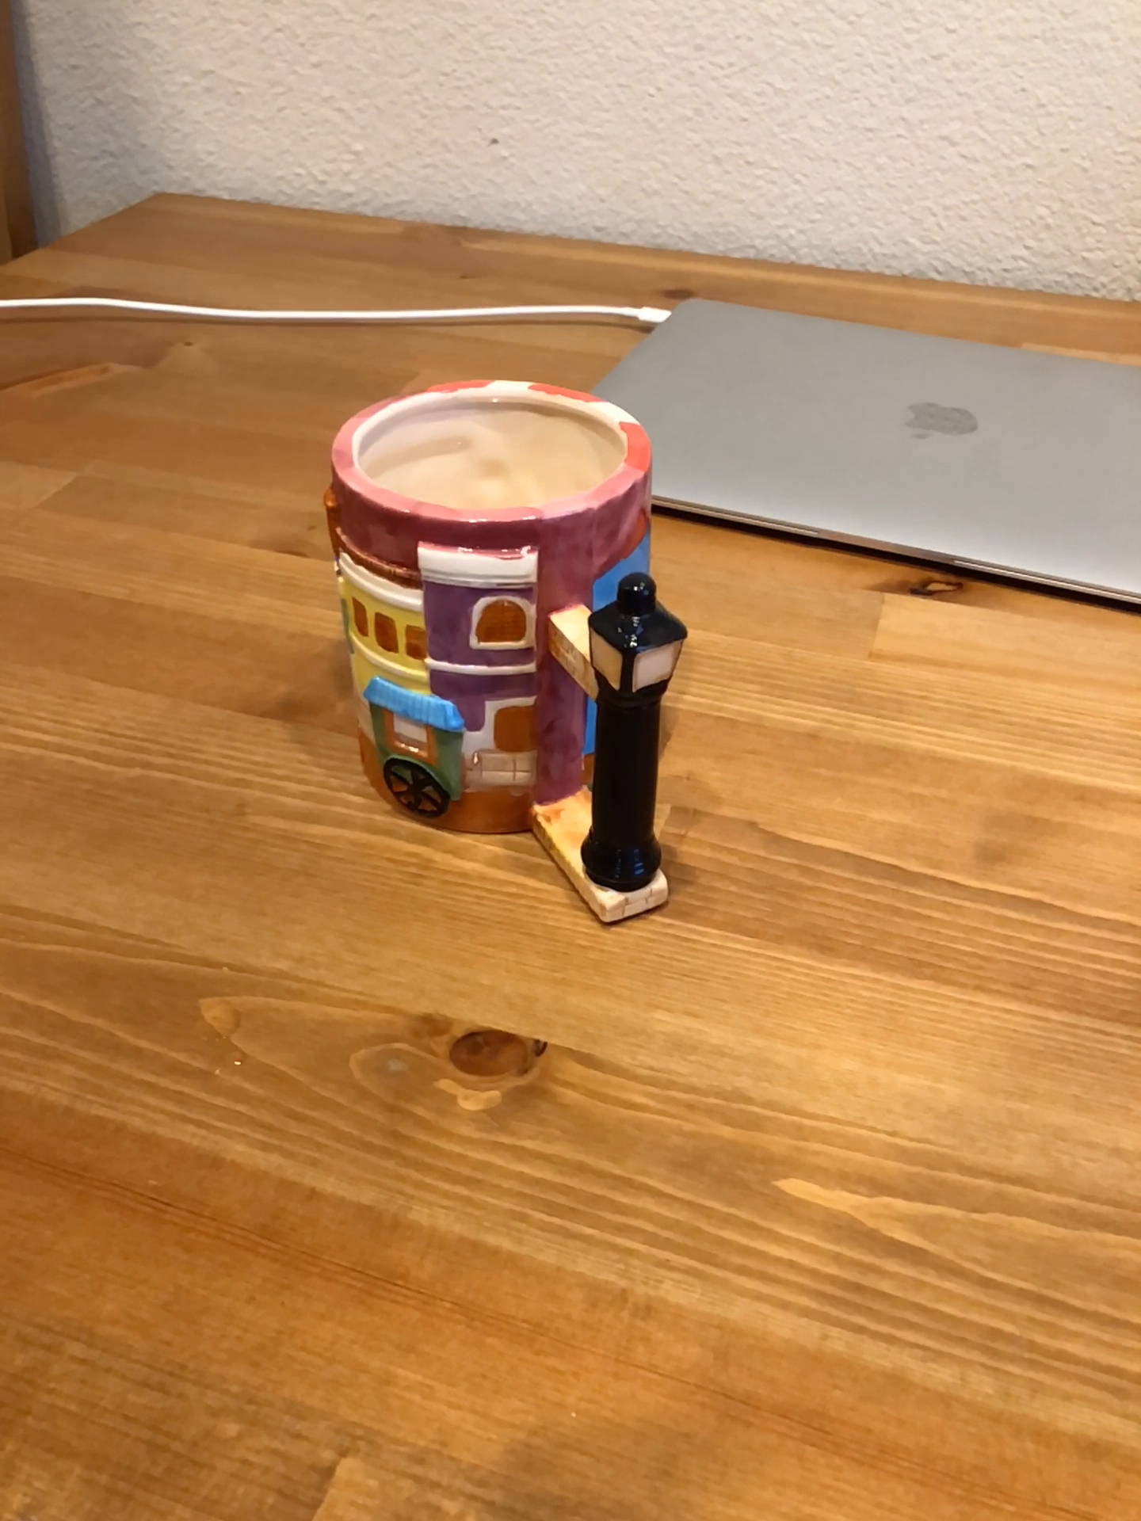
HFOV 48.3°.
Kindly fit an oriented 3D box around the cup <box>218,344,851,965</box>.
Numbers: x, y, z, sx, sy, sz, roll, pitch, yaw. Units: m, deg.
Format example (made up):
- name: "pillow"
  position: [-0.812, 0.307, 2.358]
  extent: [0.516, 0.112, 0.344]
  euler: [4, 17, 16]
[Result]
- name: "cup"
  position: [-0.013, -0.036, 0.332]
  extent: [0.090, 0.090, 0.130]
  euler: [-27, 45, -31]
